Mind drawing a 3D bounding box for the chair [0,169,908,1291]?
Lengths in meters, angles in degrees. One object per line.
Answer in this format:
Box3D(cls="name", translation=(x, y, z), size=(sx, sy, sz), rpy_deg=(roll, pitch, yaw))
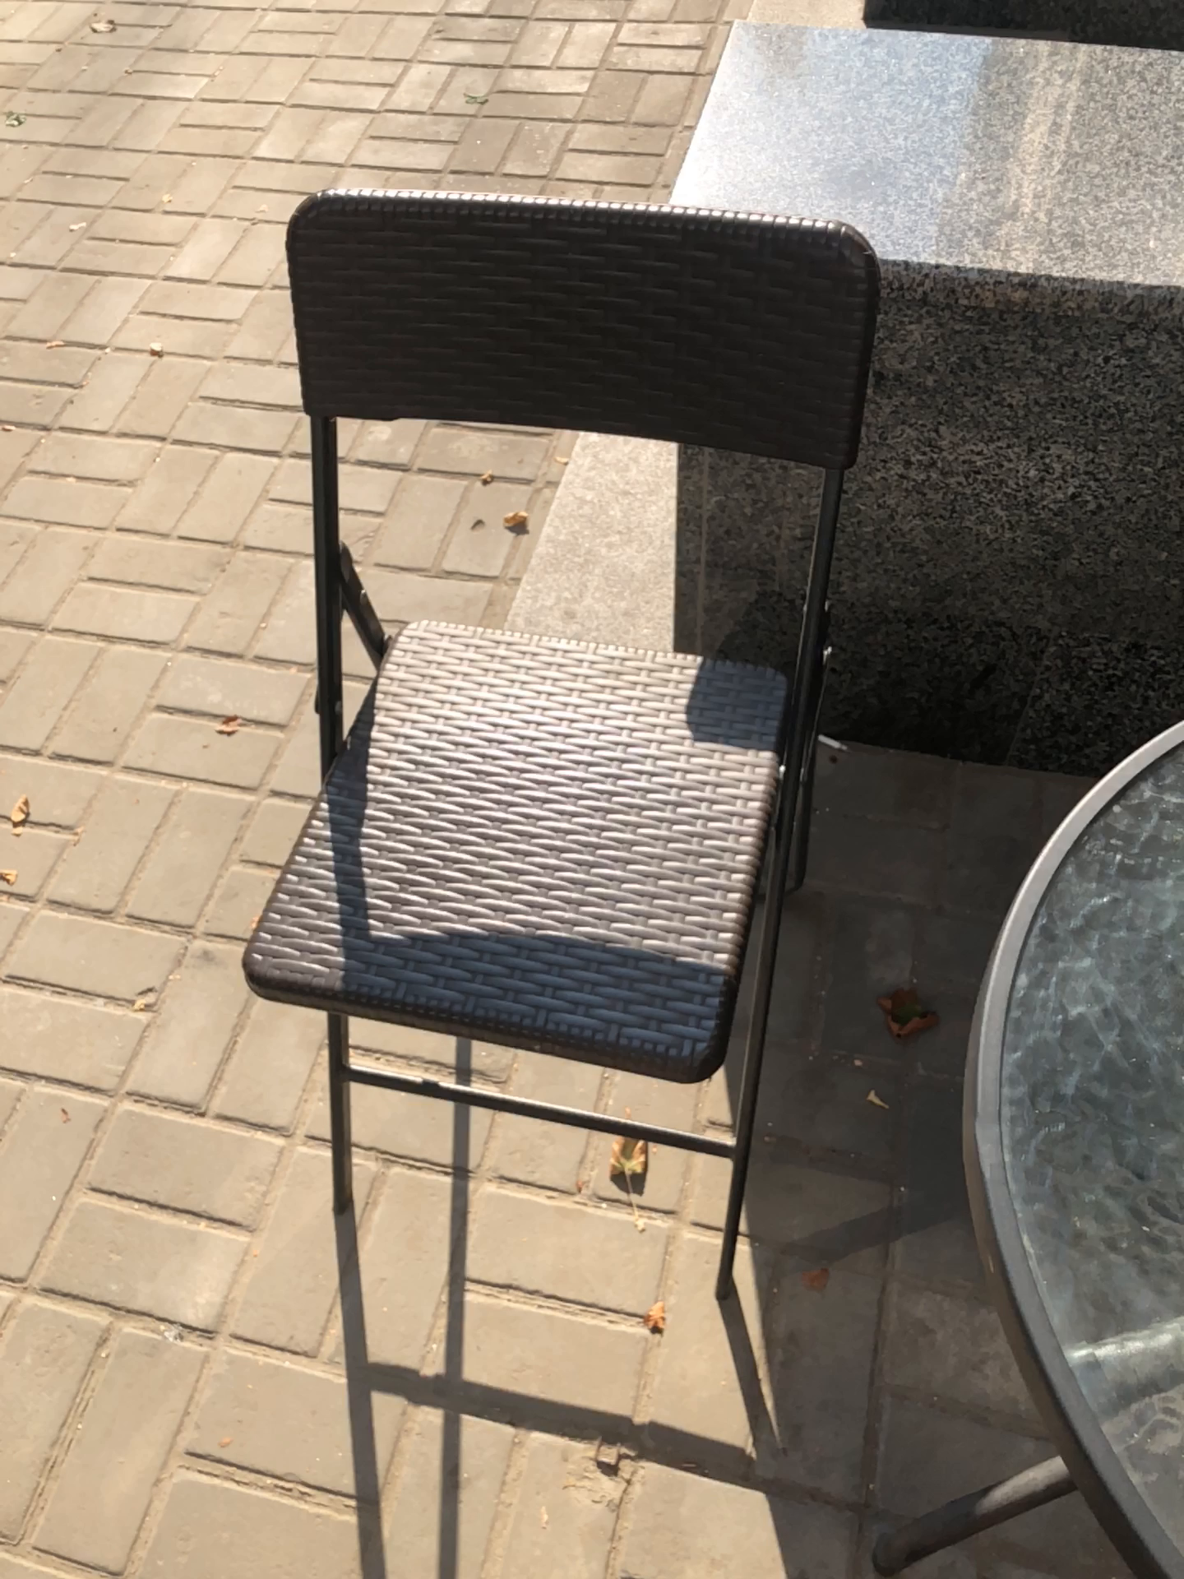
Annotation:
Box3D(cls="chair", translation=(-0.041, 0.014, 1.068), size=(0.430, 0.778, 0.481), rpy_deg=(9, 55, 9))
